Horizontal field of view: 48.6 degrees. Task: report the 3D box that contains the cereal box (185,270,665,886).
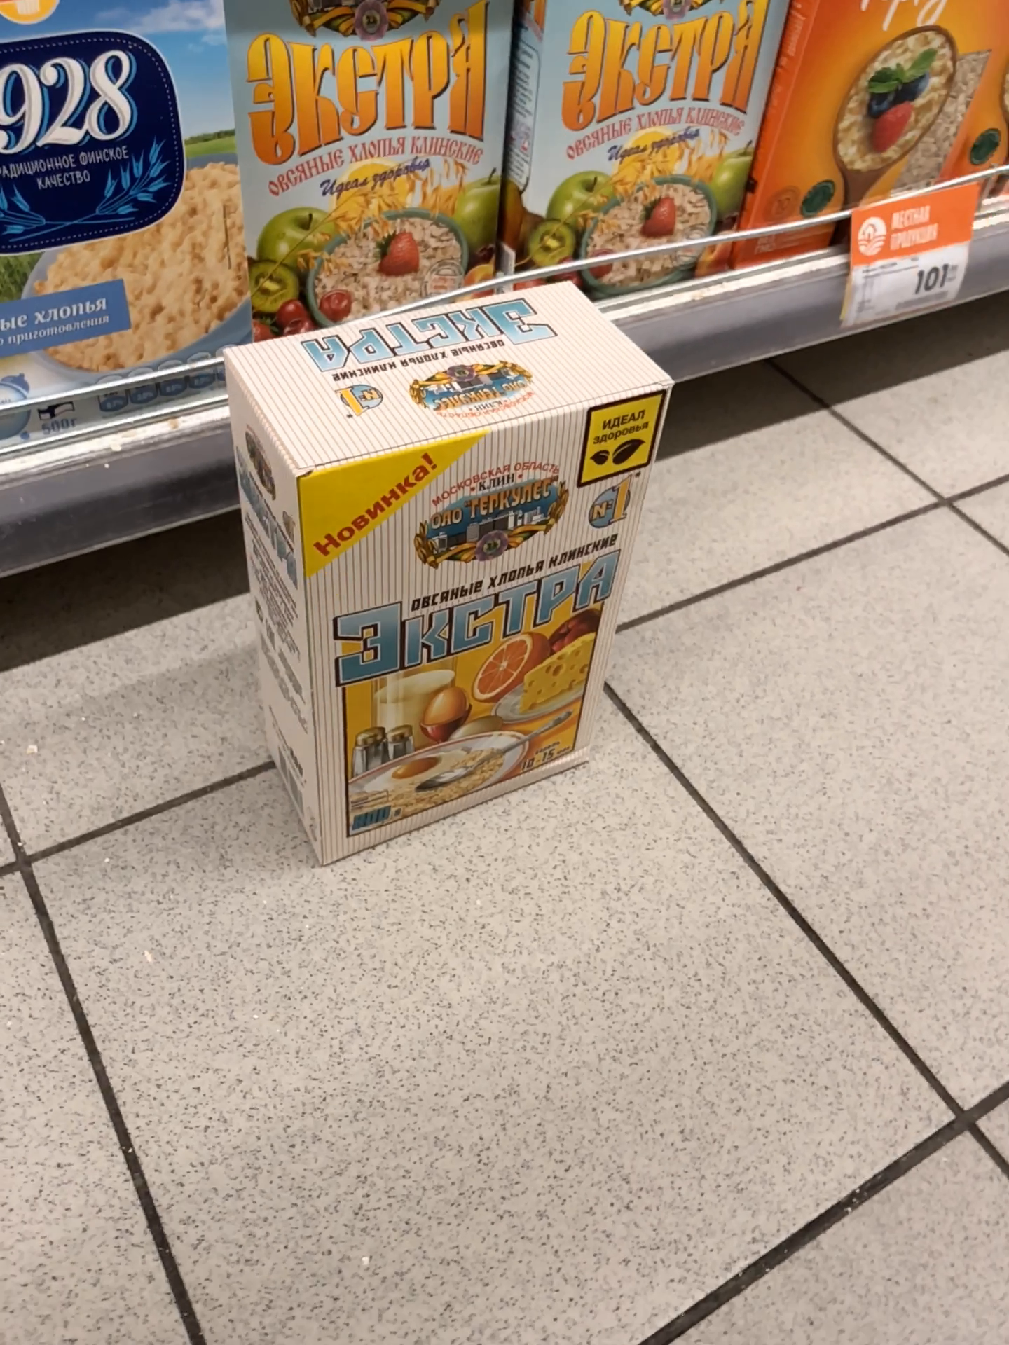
[{"bbox_3d":[-0.037,-0.031,0.484,0.150,0.239,0.080,-19,53,-22],"label":"cereal box"}]
